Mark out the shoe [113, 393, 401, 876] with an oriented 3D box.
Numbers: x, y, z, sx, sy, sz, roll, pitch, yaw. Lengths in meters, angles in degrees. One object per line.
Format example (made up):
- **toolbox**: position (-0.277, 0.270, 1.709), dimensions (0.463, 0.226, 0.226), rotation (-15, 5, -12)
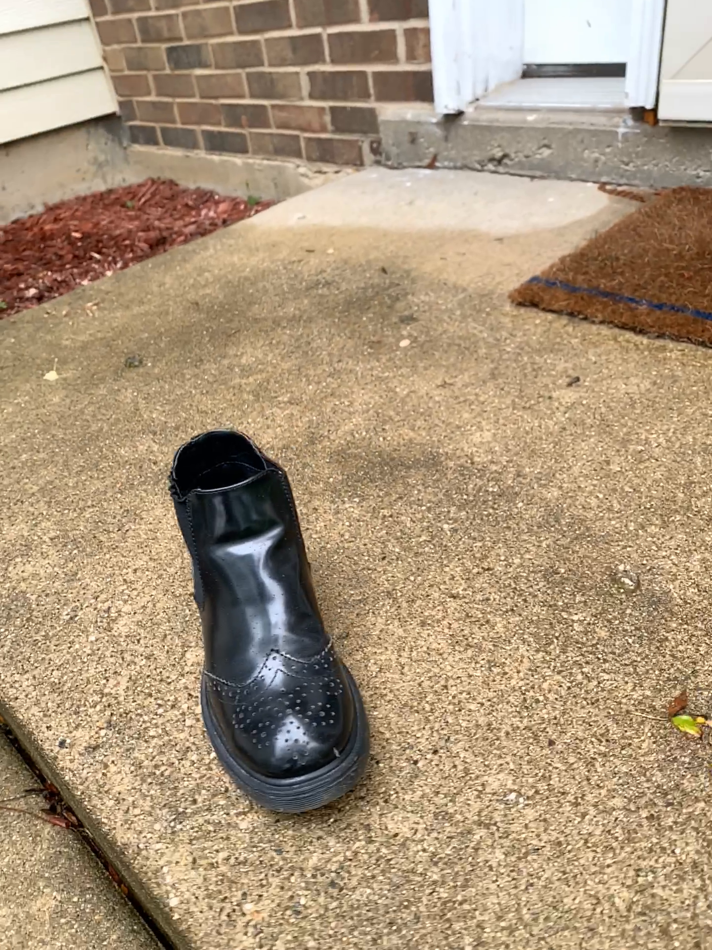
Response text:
- **shoe**: position (-0.078, 0.084, 0.497), dimensions (0.118, 0.148, 0.269), rotation (-16, 36, -9)
